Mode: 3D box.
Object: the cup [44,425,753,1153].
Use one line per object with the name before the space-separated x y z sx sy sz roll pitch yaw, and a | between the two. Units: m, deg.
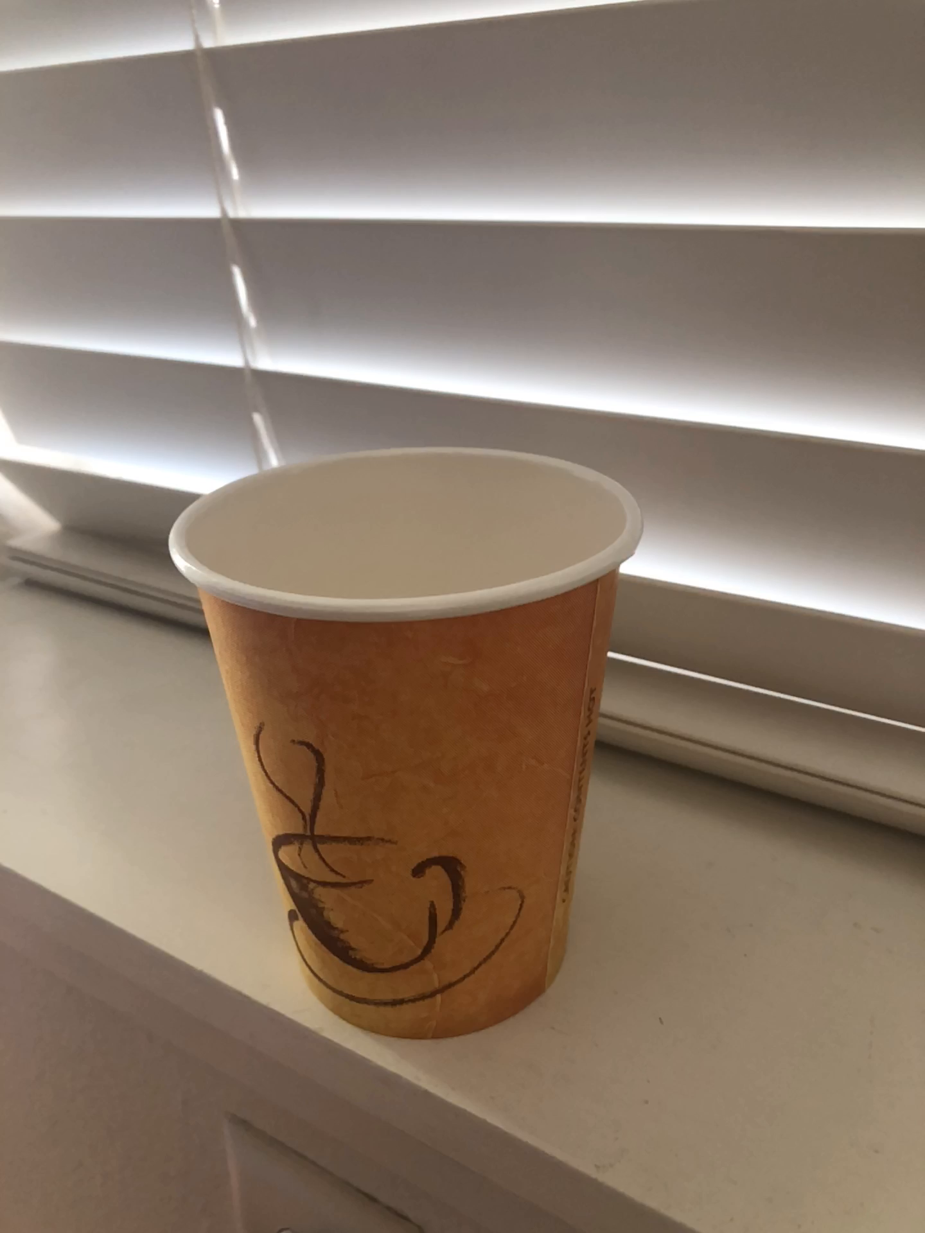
cup | -0.008 0.020 0.213 0.095 0.088 0.094 -1 24 1
